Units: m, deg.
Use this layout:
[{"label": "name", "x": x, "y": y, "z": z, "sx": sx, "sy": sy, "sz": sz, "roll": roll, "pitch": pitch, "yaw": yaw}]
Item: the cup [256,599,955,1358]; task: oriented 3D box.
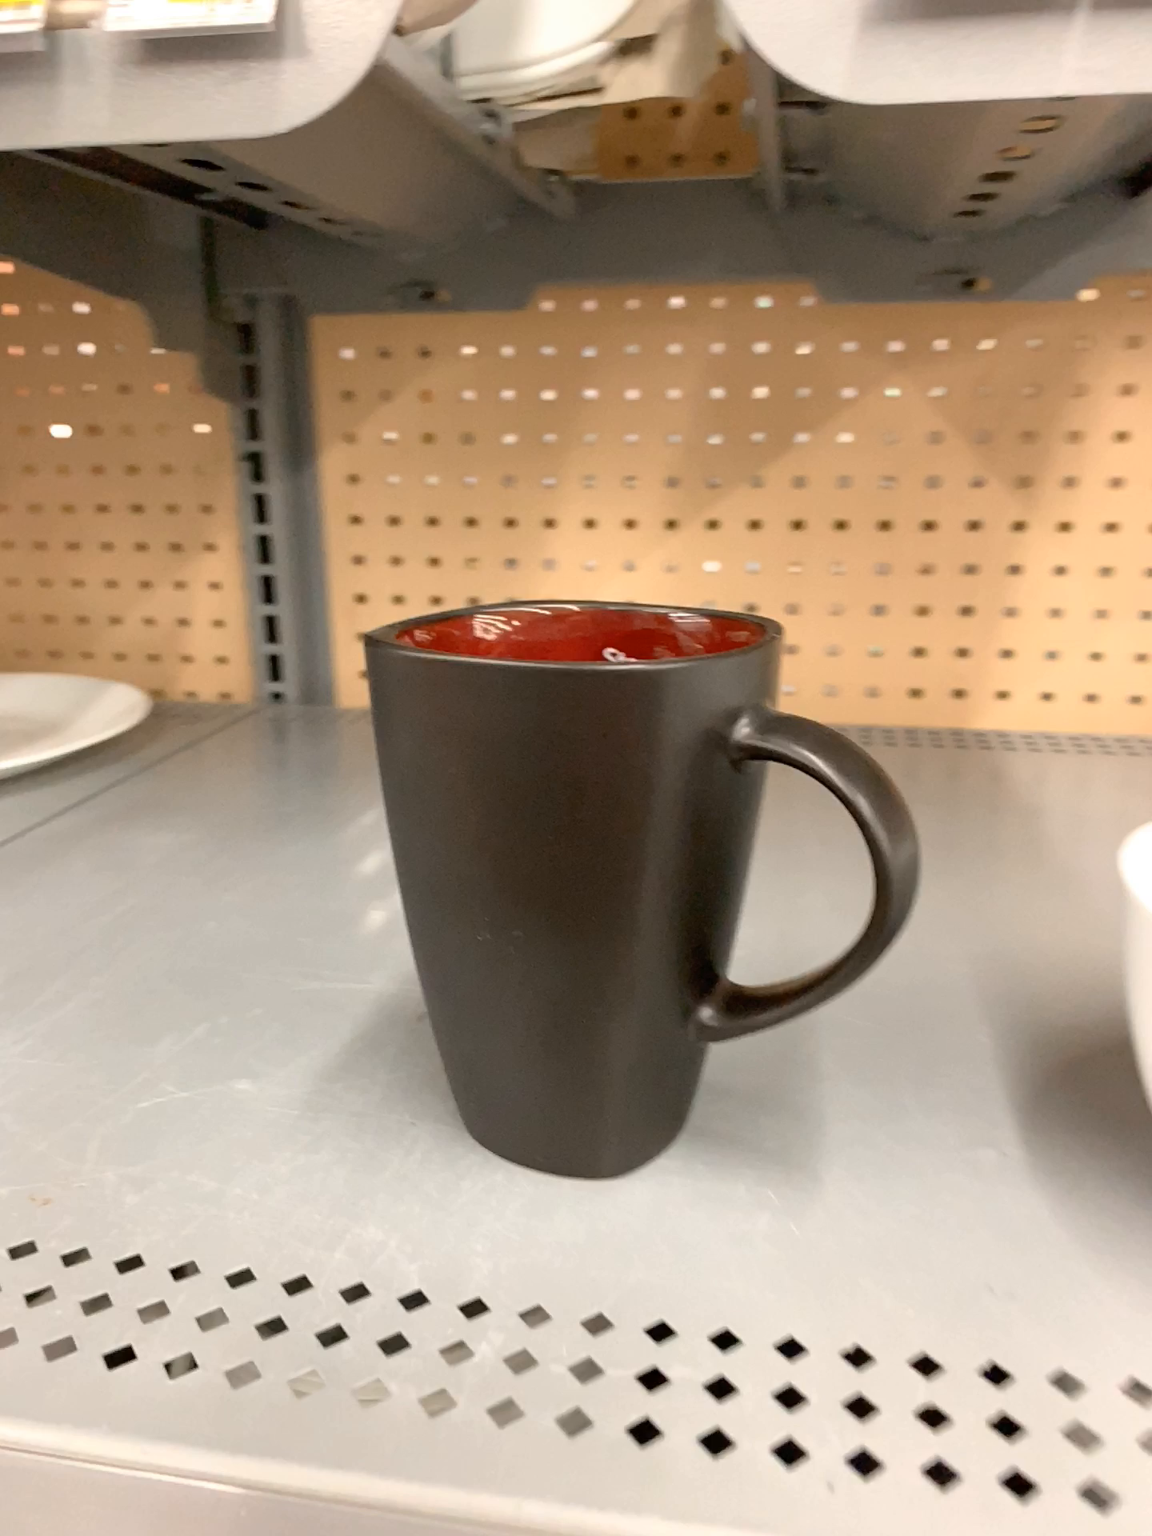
[{"label": "cup", "x": 0.012, "y": 0.034, "z": 0.280, "sx": 0.130, "sy": 0.130, "sz": 0.090, "roll": 6, "pitch": 17, "yaw": 22}]
